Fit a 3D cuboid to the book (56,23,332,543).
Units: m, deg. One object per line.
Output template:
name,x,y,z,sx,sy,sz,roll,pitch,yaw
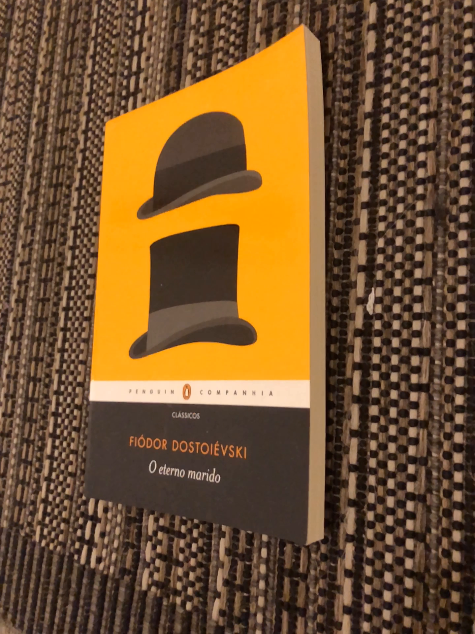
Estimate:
book,-0.024,-0.012,0.226,0.131,0.020,0.180,-6,79,37
